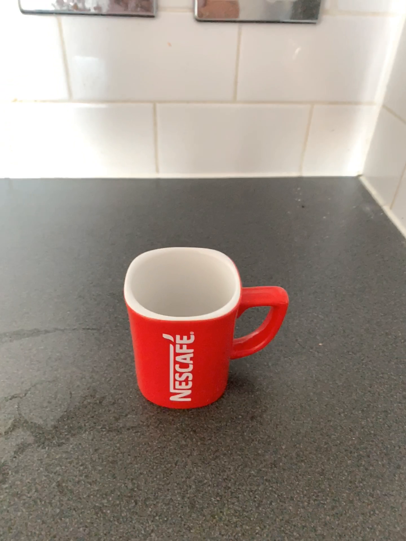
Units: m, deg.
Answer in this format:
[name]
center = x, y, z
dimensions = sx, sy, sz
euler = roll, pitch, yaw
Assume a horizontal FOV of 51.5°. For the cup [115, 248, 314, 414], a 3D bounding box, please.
[cup]
center = 0.005, 0.042, 0.291
dimensions = 0.112, 0.091, 0.068
euler = 1, 37, -2
